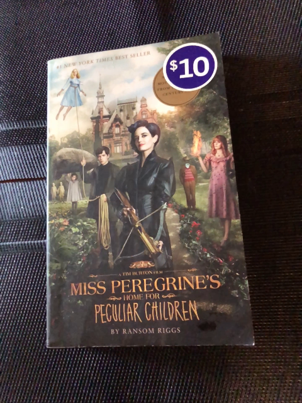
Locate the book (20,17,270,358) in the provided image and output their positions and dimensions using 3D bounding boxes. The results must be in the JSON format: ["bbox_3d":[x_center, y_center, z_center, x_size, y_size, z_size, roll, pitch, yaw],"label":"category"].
[{"bbox_3d":[-0.010,-0.010,0.258,0.160,0.050,0.230,-4,79,9],"label":"book"}]
